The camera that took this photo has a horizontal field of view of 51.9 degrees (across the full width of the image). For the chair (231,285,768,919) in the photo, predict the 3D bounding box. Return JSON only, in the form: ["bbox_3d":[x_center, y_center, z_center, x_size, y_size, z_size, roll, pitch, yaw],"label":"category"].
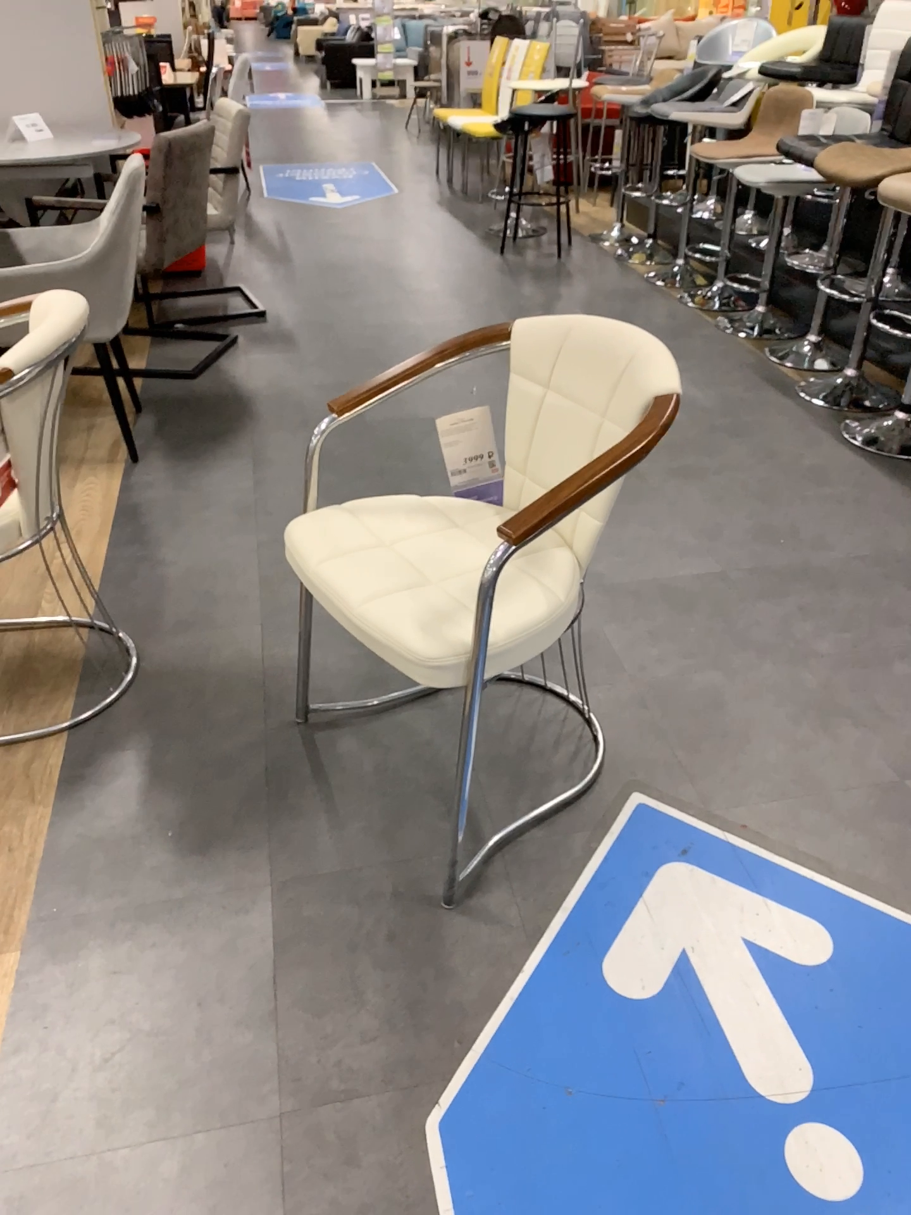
[{"bbox_3d":[0.050,-0.055,1.683,0.601,0.815,0.602,-20,38,-28],"label":"chair"}]
